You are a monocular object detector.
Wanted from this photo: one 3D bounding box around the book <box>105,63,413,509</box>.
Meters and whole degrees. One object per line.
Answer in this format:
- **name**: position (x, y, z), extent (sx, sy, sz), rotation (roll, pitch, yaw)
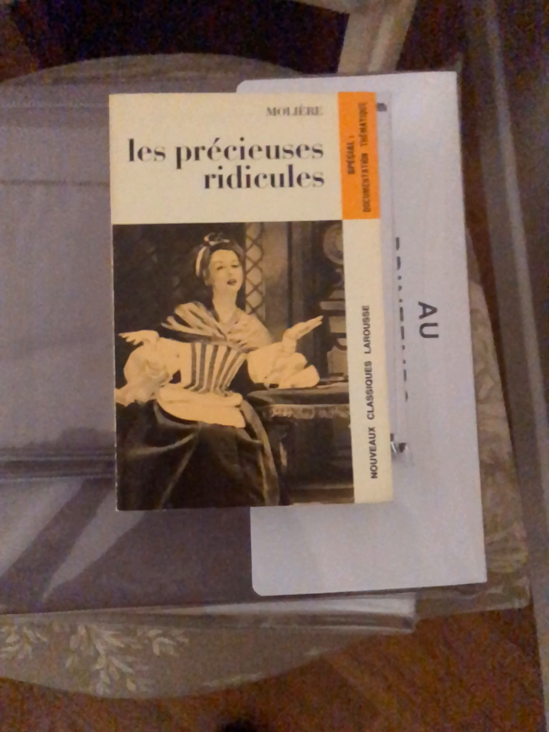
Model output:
- **book**: position (-0.008, -0.035, 0.257), extent (0.120, 0.020, 0.180), rotation (-2, 85, -1)
